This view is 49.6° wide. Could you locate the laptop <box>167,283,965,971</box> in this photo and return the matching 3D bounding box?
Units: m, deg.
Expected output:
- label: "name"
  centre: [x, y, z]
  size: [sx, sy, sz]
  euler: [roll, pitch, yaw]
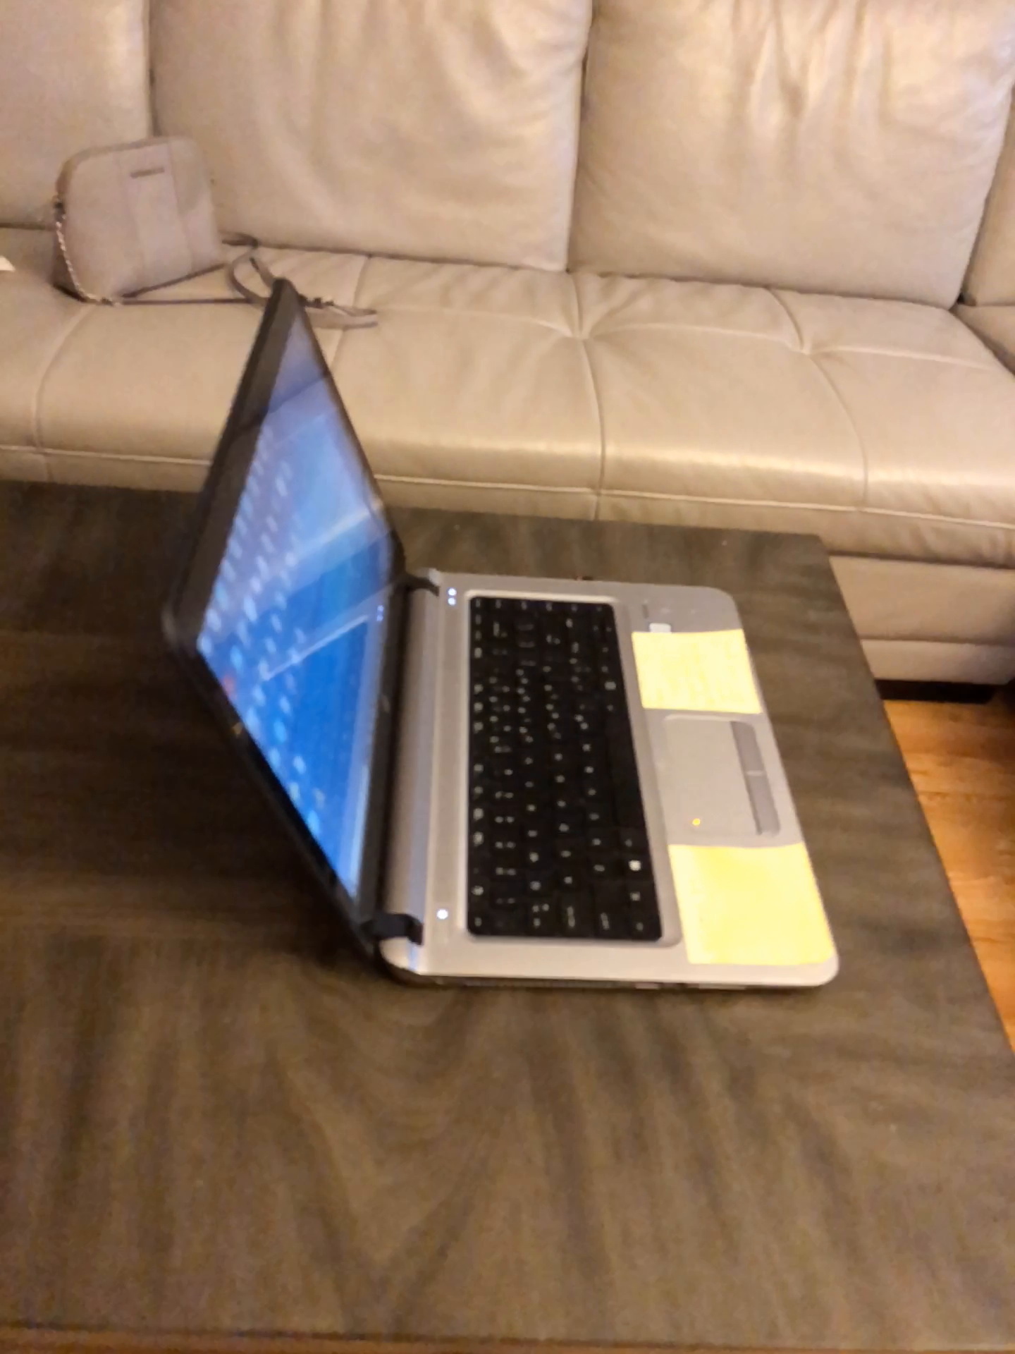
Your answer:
- label: "laptop"
  centre: [0.016, -0.041, 0.605]
  size: [0.306, 0.208, 0.321]
  euler: [3, 41, -4]
